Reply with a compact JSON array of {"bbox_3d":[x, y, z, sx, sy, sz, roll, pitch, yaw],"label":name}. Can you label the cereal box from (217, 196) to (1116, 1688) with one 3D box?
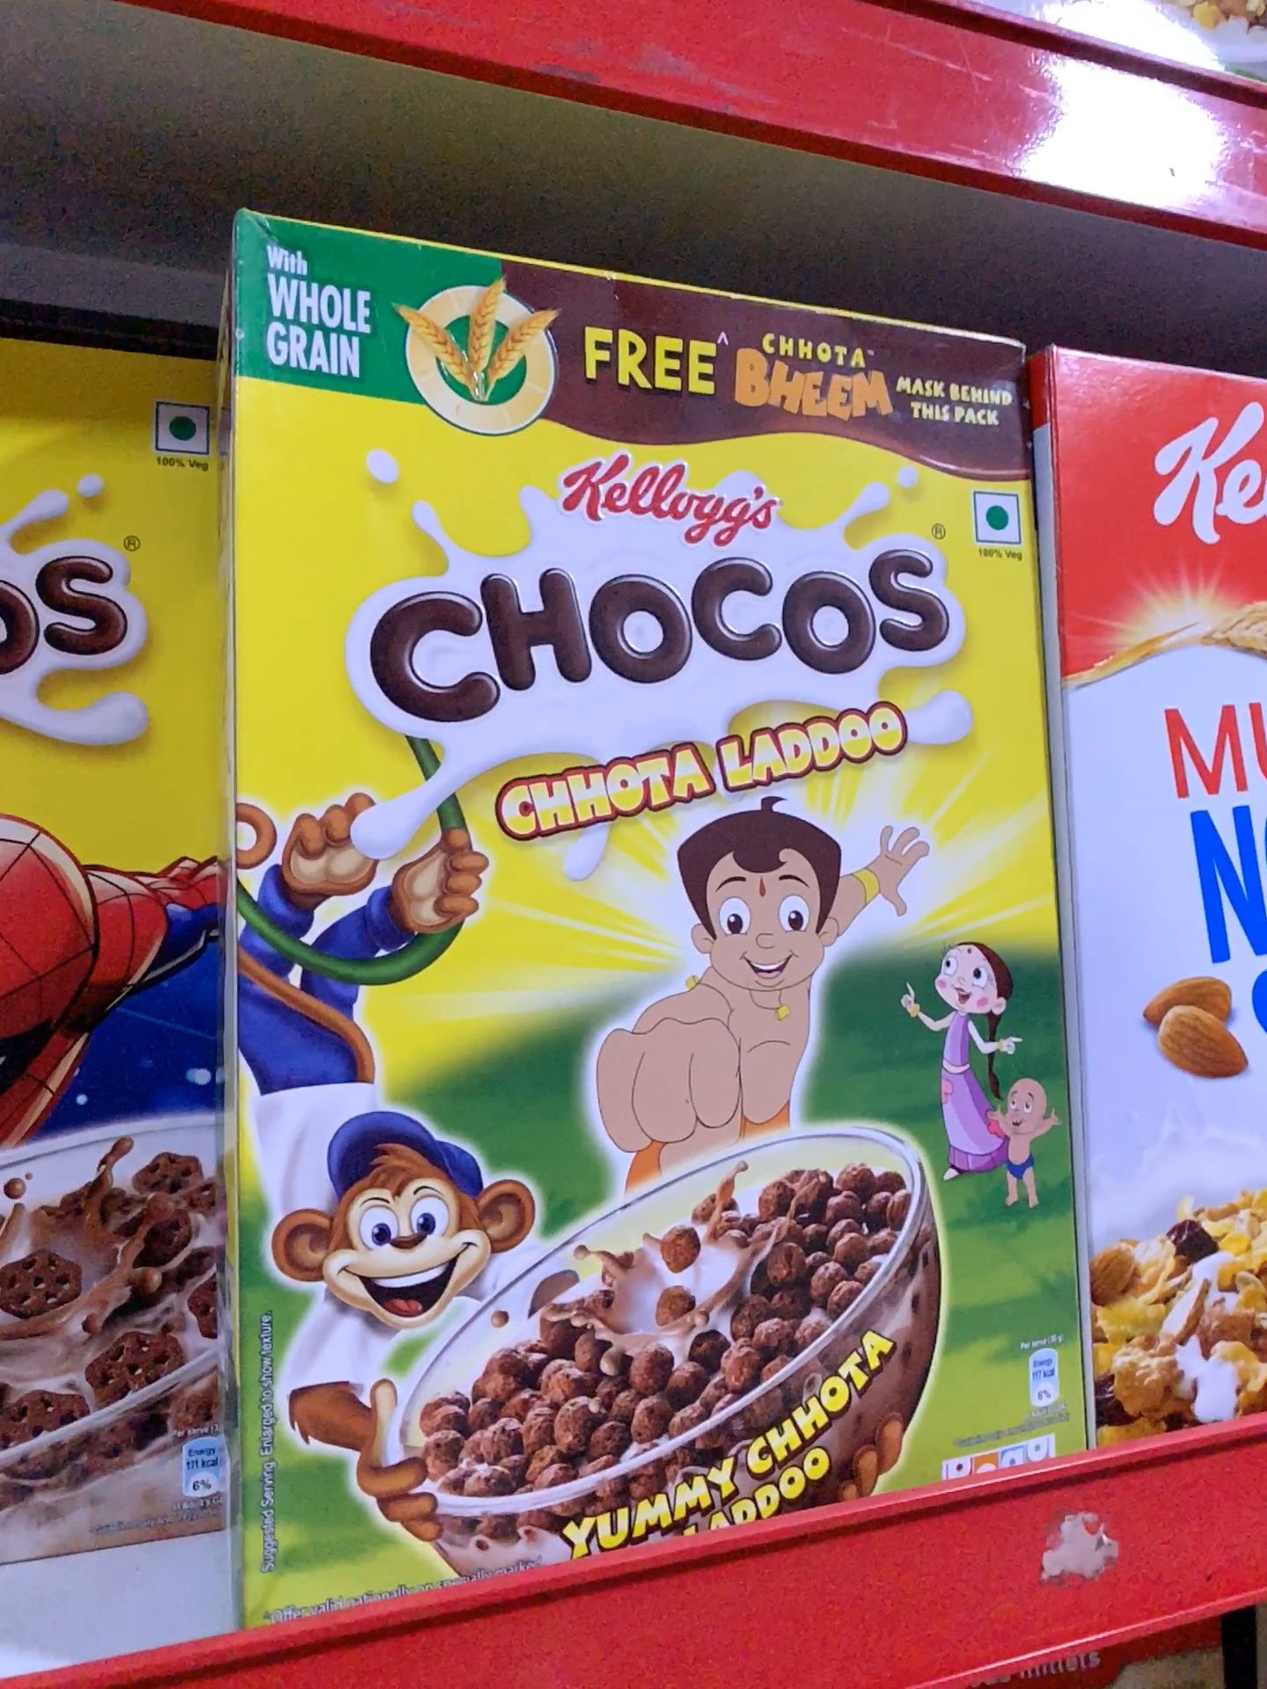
[{"bbox_3d":[0.004,0.014,0.295,0.180,0.260,0.070,0,-5,-22],"label":"cereal box"}]
